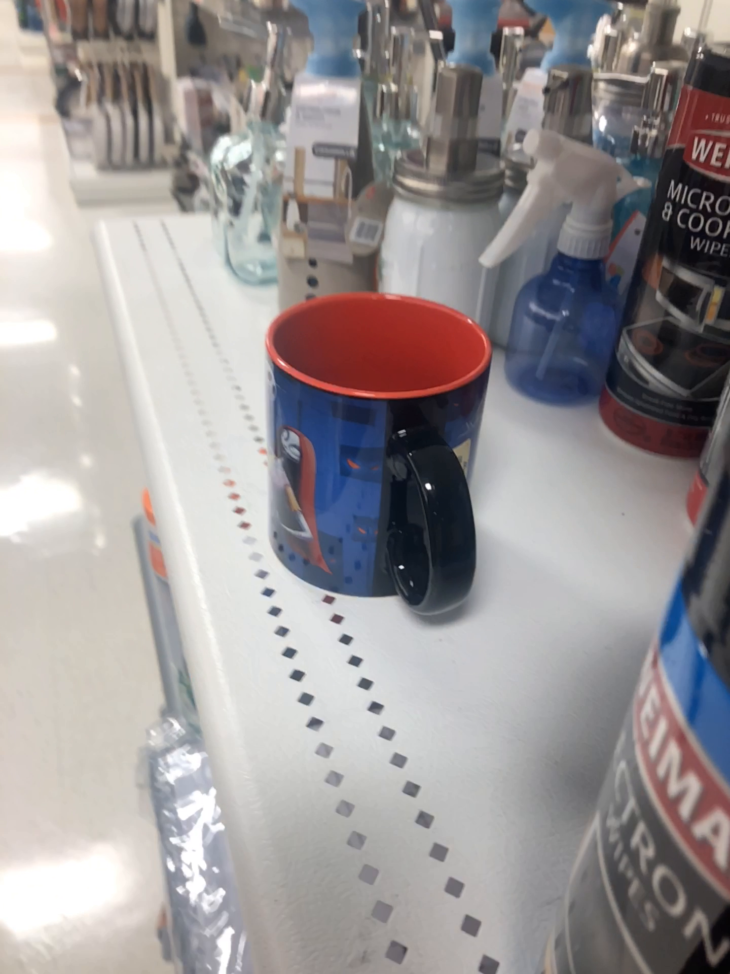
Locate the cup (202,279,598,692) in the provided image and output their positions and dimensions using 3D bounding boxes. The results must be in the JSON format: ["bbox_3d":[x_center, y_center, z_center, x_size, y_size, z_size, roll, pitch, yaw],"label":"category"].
[{"bbox_3d":[0.004,-0.012,0.368,0.113,0.103,0.148,-12,39,-21],"label":"cup"}]
